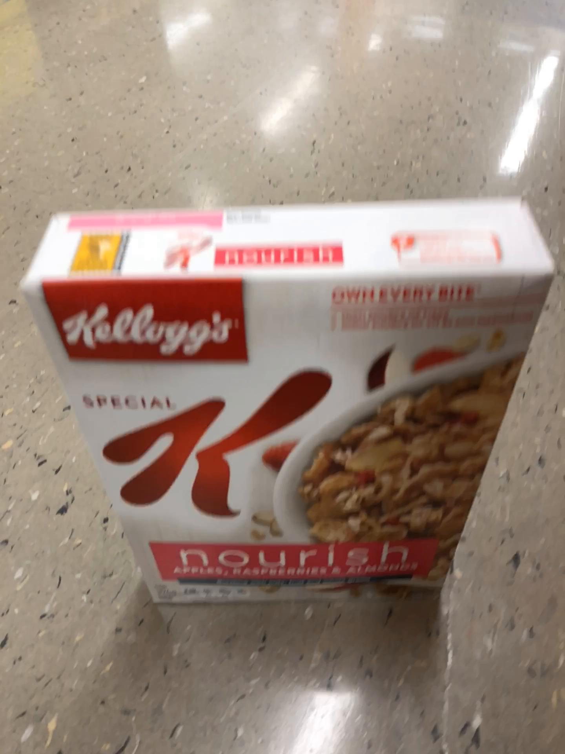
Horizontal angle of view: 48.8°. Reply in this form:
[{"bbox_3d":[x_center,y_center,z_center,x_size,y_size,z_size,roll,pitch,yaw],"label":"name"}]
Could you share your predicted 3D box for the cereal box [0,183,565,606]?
[{"bbox_3d":[0.010,0.041,0.340,0.210,0.289,0.050,-2,48,1],"label":"cereal box"}]
